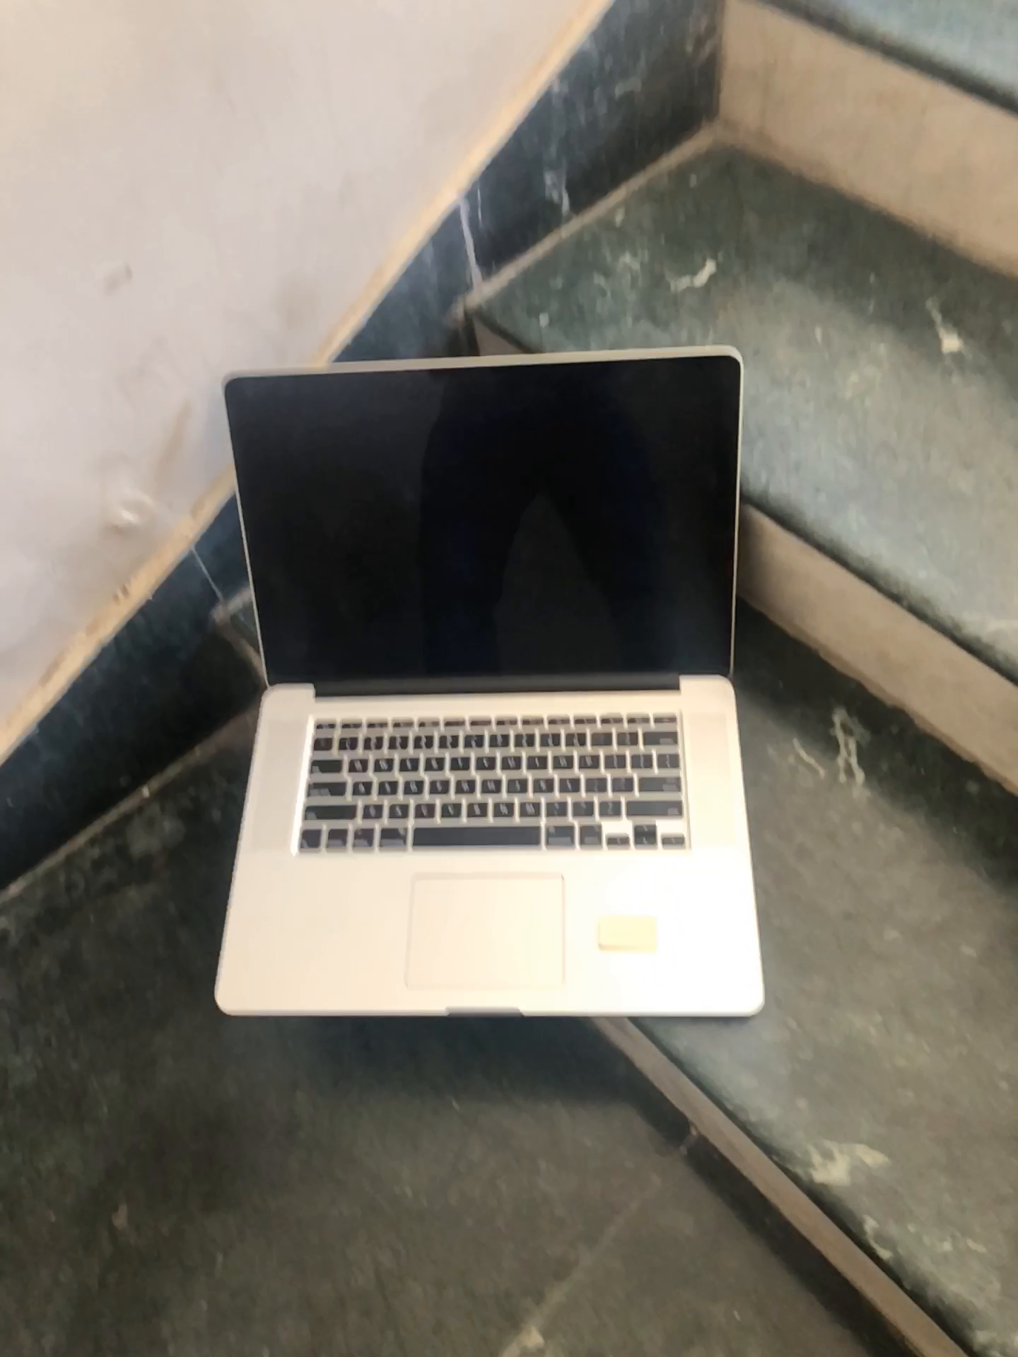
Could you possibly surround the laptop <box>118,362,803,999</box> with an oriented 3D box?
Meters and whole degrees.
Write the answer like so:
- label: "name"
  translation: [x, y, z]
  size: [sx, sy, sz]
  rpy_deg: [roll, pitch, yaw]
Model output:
- label: "laptop"
  translation: [-0.019, 0.000, 0.733]
  size: [0.341, 0.194, 0.364]
  rpy_deg: [-1, 57, 5]
